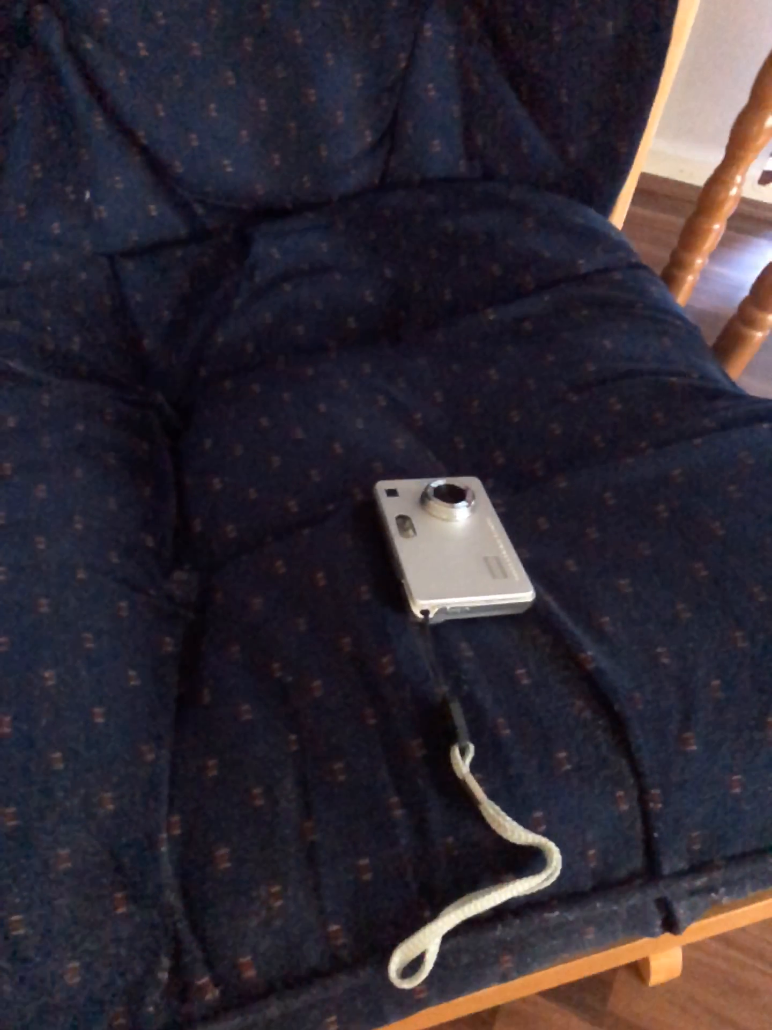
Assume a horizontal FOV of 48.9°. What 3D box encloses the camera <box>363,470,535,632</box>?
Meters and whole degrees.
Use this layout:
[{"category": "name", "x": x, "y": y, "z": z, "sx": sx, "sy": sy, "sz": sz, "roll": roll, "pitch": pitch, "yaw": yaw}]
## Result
[{"category": "camera", "x": 0.026, "y": 0.014, "z": 0.397, "sx": 0.058, "sy": 0.018, "sz": 0.085, "roll": -4, "pitch": 42, "yaw": -13}]
